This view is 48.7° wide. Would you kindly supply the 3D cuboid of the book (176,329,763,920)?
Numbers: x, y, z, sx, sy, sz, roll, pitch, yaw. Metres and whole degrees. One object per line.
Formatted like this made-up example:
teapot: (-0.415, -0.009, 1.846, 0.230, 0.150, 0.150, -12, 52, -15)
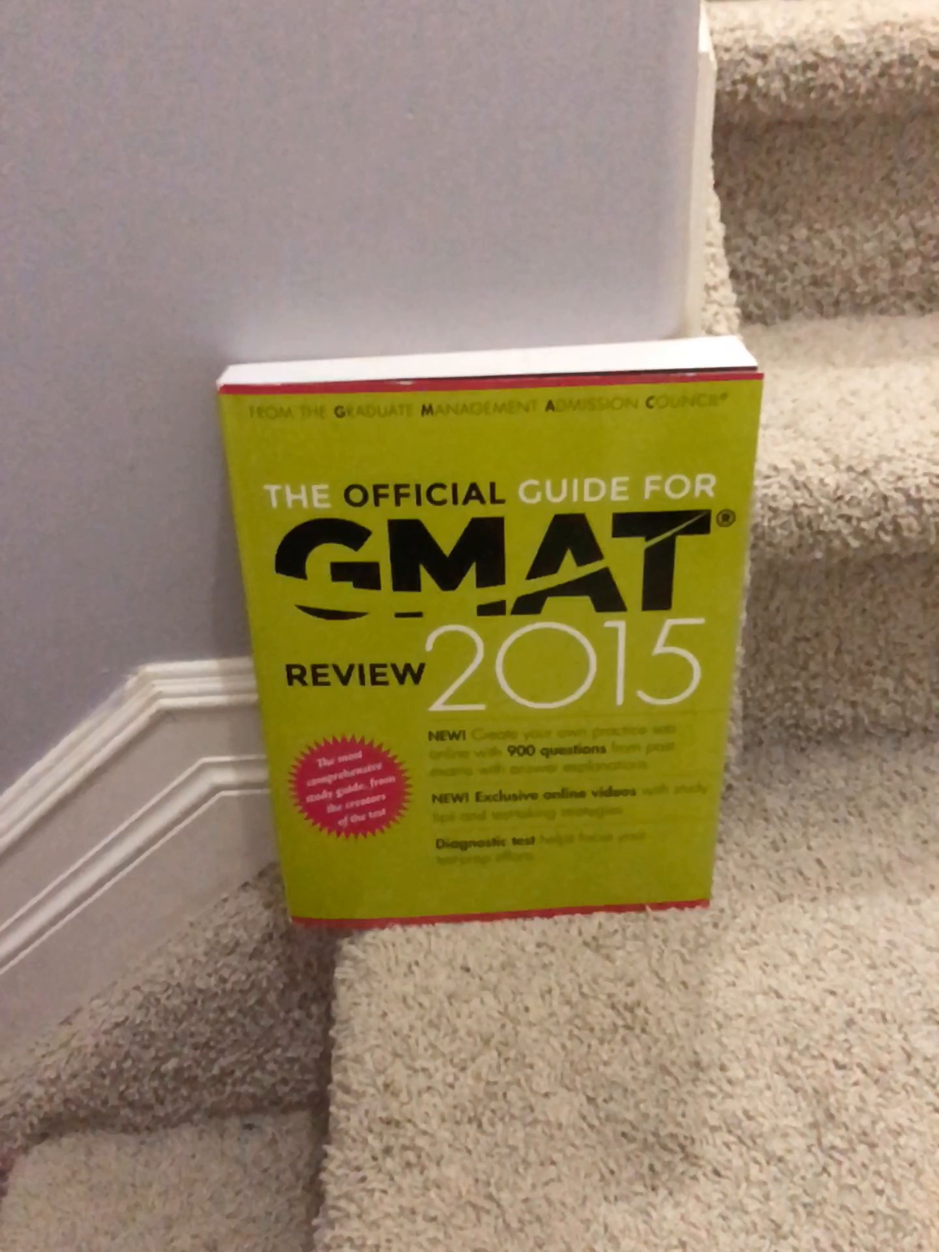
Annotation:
book: (0.007, 0.011, 0.493, 0.235, 0.277, 0.040, -3, 25, 0)
